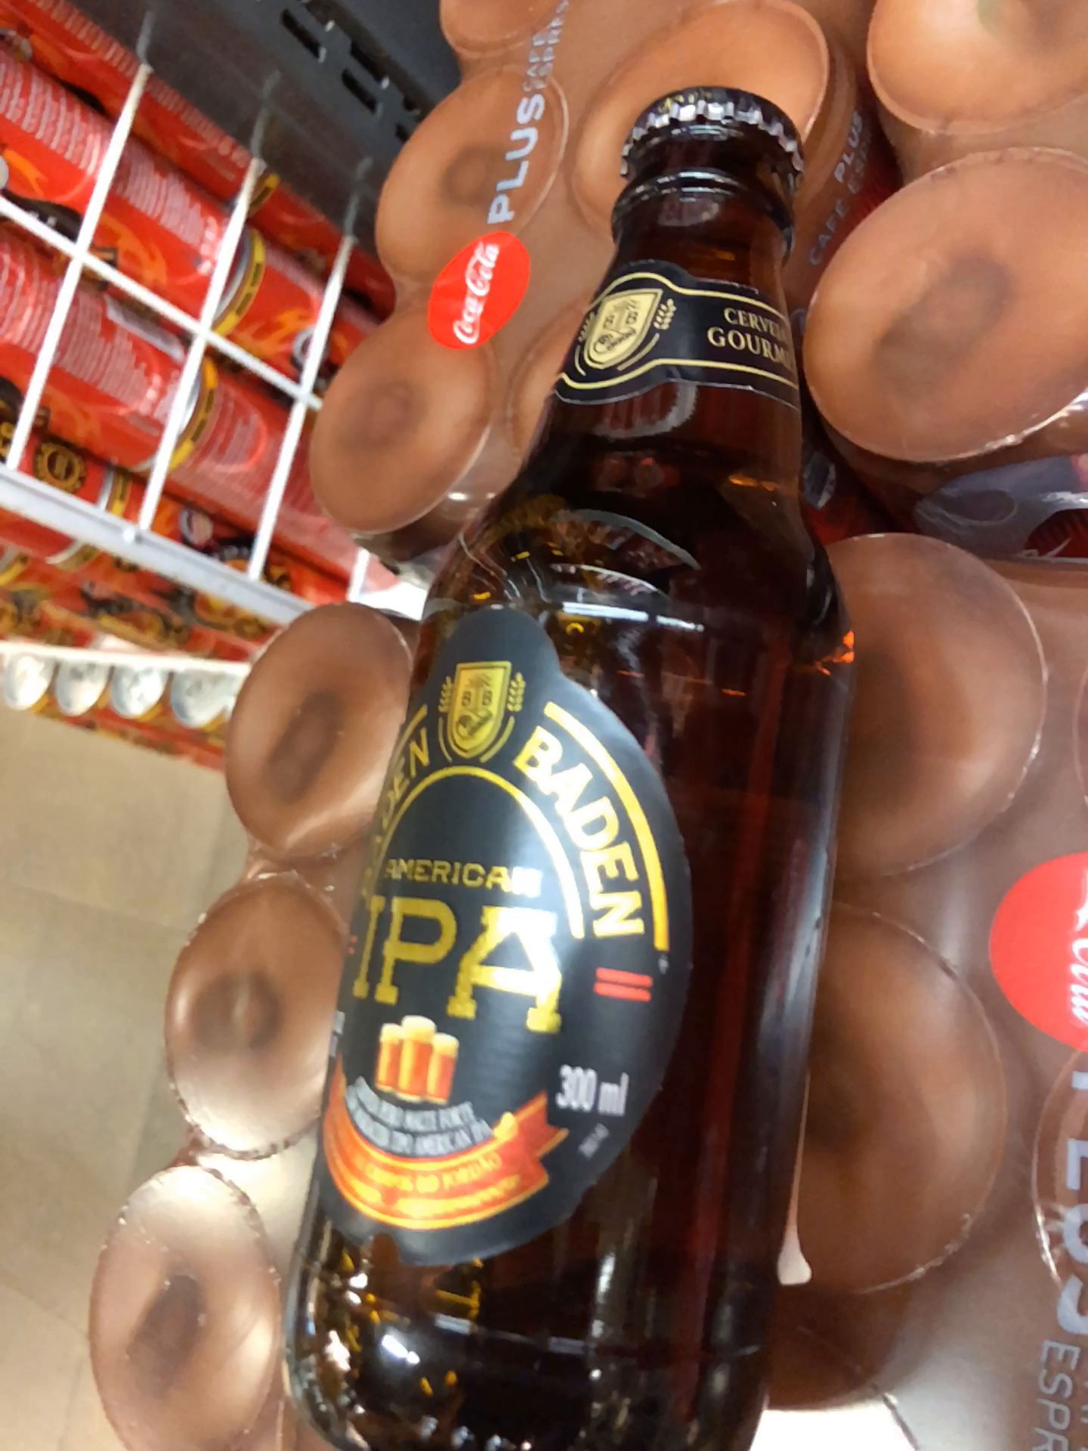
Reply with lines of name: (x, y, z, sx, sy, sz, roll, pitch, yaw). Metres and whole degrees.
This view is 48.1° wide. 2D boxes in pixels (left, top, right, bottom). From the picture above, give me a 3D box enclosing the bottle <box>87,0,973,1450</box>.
bottle: (0.006, -0.012, 0.165, 0.070, 0.050, 0.210, 1, 75, 36)
